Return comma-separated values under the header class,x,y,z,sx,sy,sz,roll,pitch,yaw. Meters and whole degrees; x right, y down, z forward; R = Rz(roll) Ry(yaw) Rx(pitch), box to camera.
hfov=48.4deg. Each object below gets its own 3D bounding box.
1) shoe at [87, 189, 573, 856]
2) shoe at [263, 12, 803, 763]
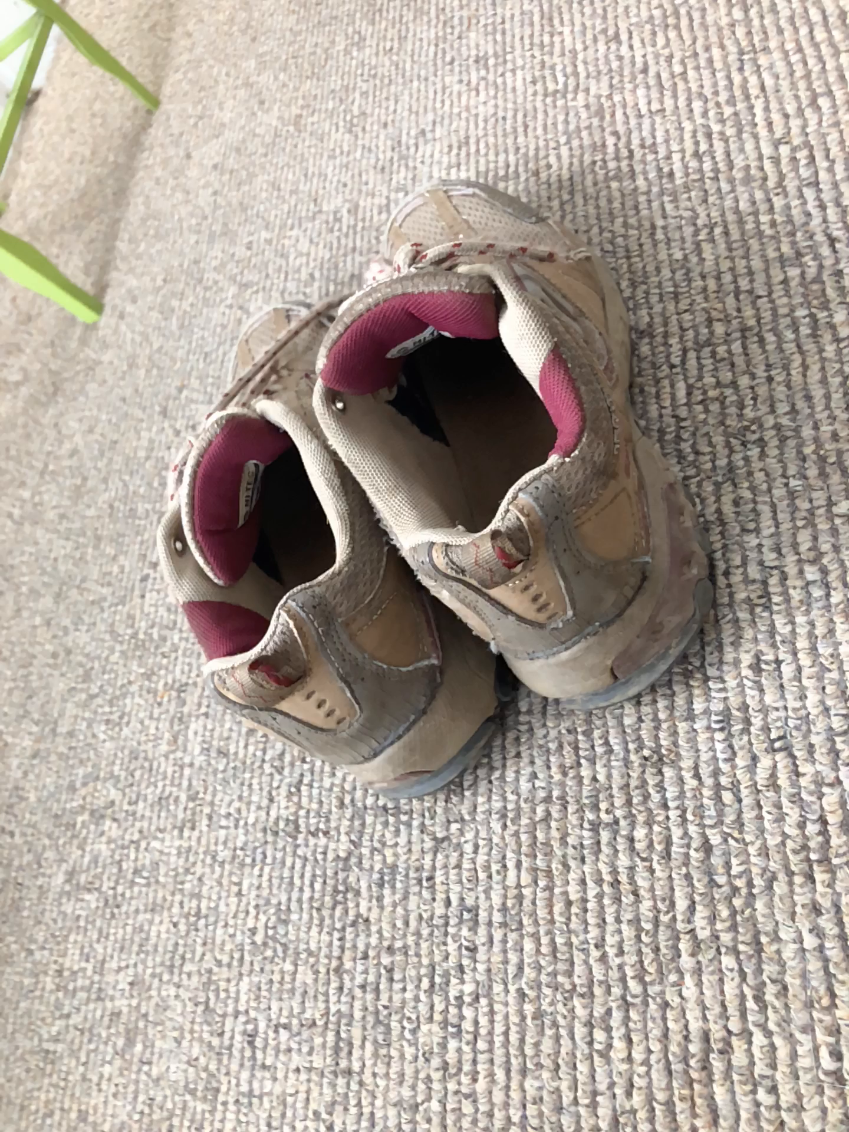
class,x,y,z,sx,sy,sz,roll,pitch,yaw
shoe,-0.058,-0.030,0.426,0.110,0.118,0.271,-37,48,17
shoe,0.028,-0.080,0.389,0.111,0.123,0.273,-30,50,22
